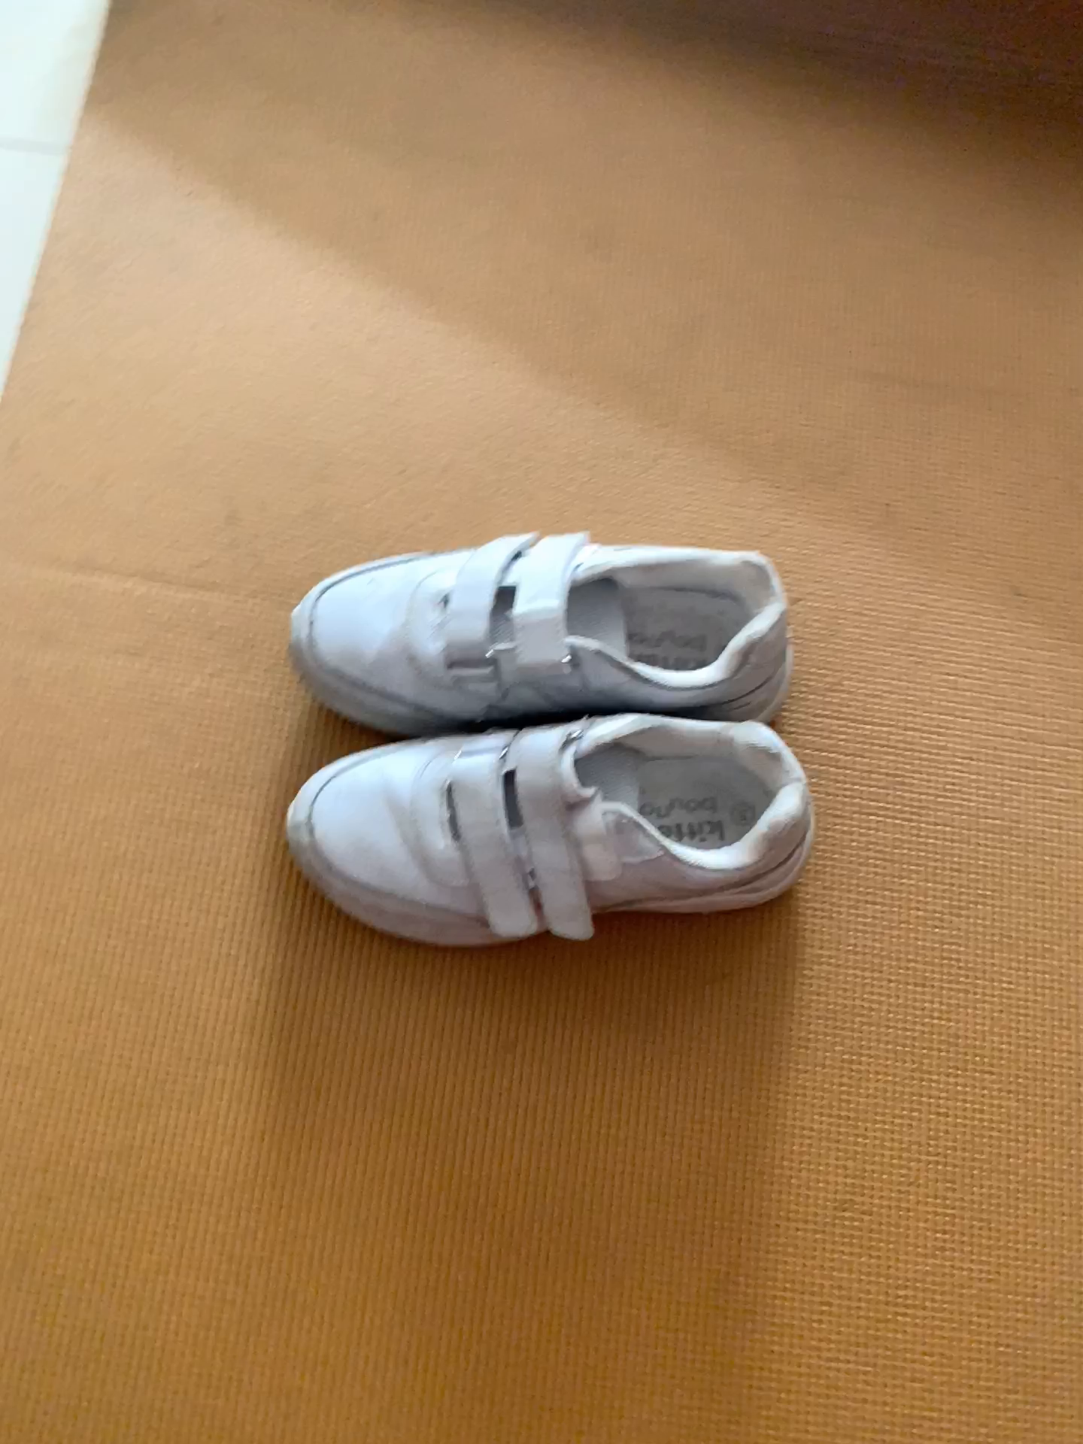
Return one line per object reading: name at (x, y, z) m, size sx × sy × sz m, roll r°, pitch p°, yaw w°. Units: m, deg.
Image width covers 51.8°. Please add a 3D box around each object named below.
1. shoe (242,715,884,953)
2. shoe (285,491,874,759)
shoe at (0.008, 0.051, 0.478) m, size 0.250 × 0.070 × 0.090 m, roll 1°, pitch 75°, yaw -4°
shoe at (0.014, -0.039, 0.512) m, size 0.240 × 0.100 × 0.090 m, roll 1°, pitch 75°, yaw -4°
